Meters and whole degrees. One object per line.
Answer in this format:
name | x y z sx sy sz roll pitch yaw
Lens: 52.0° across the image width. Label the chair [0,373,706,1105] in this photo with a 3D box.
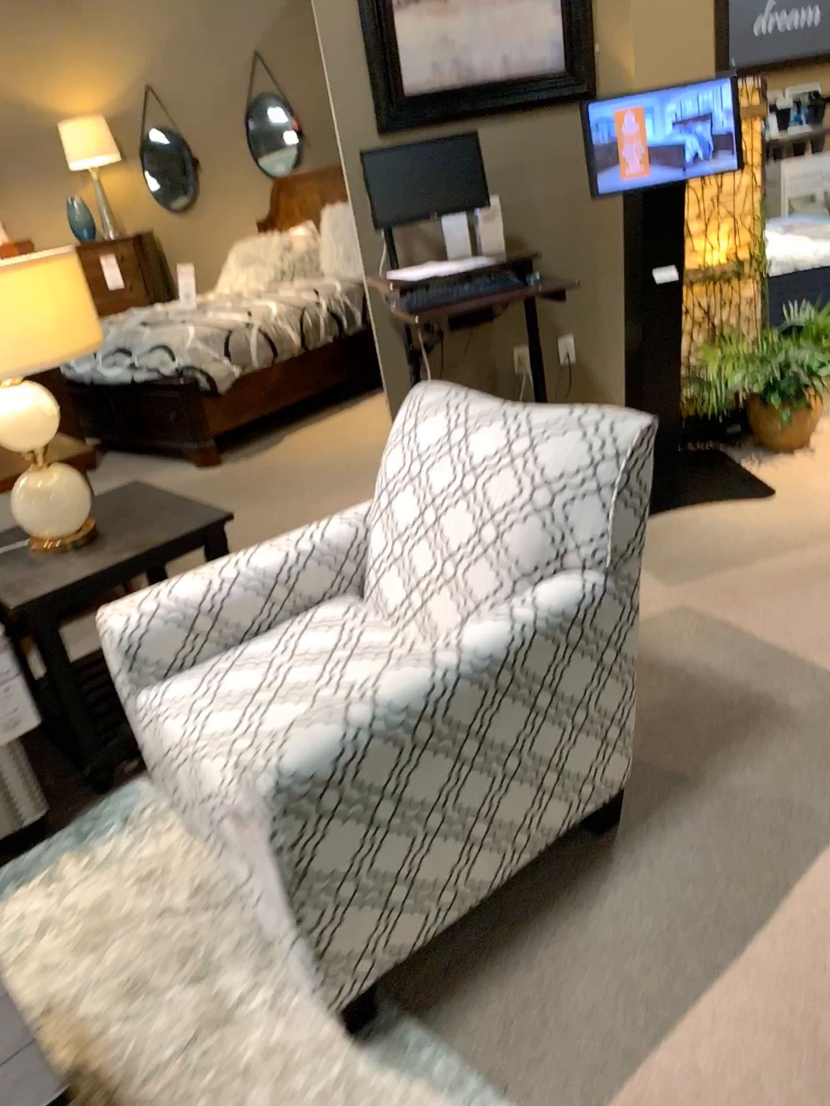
chair | -0.098 0.219 1.718 0.966 0.847 0.876 -25 28 -29
